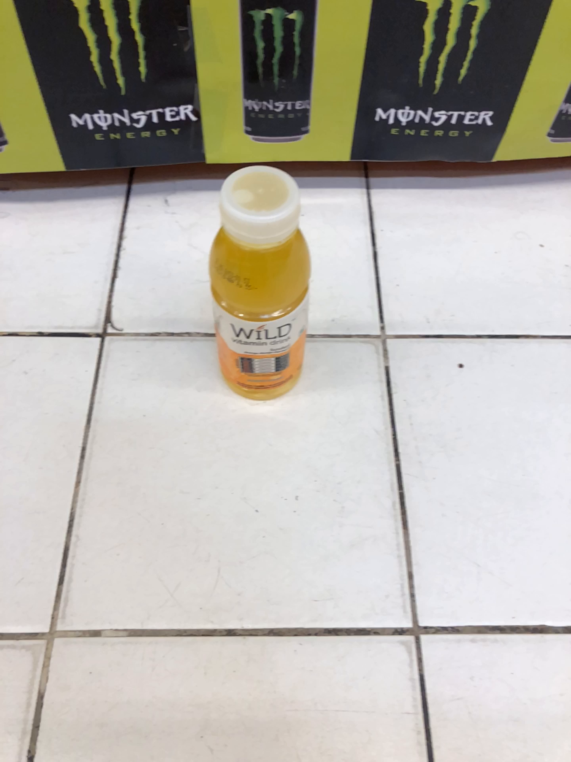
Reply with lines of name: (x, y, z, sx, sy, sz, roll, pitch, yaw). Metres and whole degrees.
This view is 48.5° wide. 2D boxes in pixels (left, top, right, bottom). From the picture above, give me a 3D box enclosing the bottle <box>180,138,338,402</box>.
bottle: (-0.017, -0.055, 0.358, 0.070, 0.139, 0.070, 1, 58, -2)
